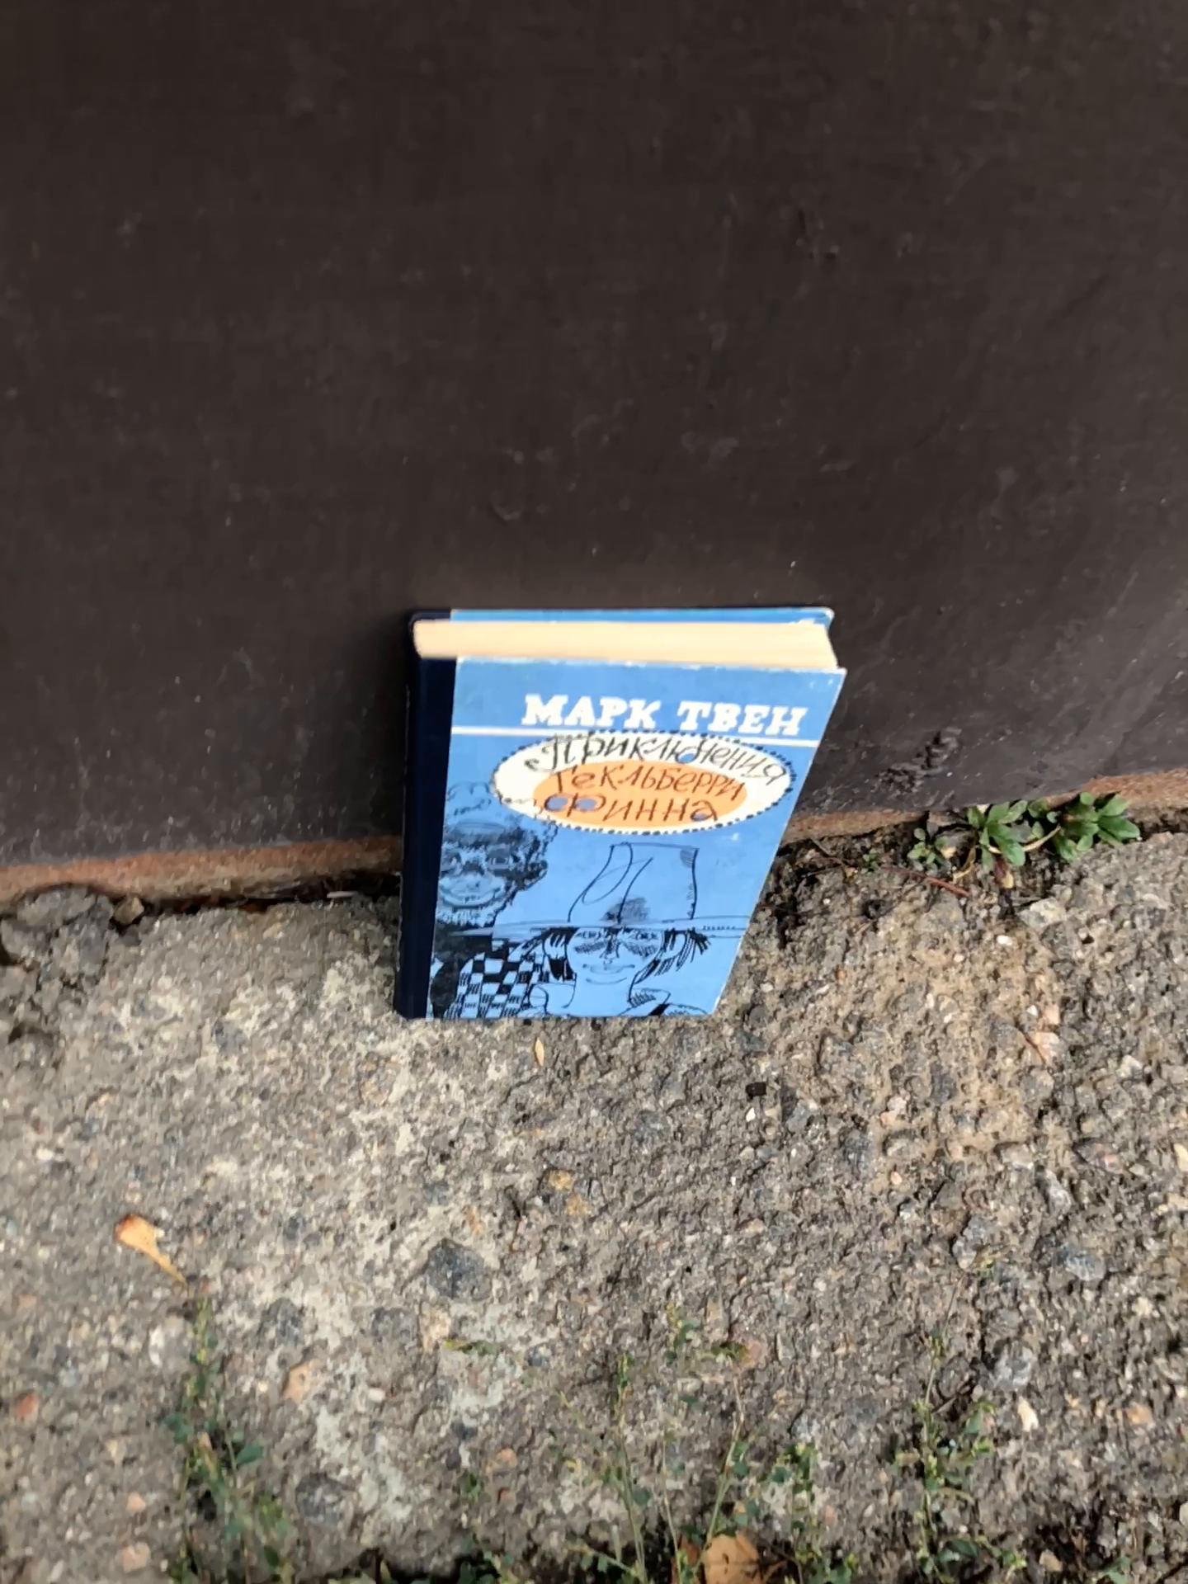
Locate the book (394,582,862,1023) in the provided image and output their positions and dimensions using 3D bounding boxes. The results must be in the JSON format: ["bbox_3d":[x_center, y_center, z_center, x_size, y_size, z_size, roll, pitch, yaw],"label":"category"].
[{"bbox_3d":[0.002,0.015,0.438,0.130,0.186,0.030,1,48,-6],"label":"book"}]
